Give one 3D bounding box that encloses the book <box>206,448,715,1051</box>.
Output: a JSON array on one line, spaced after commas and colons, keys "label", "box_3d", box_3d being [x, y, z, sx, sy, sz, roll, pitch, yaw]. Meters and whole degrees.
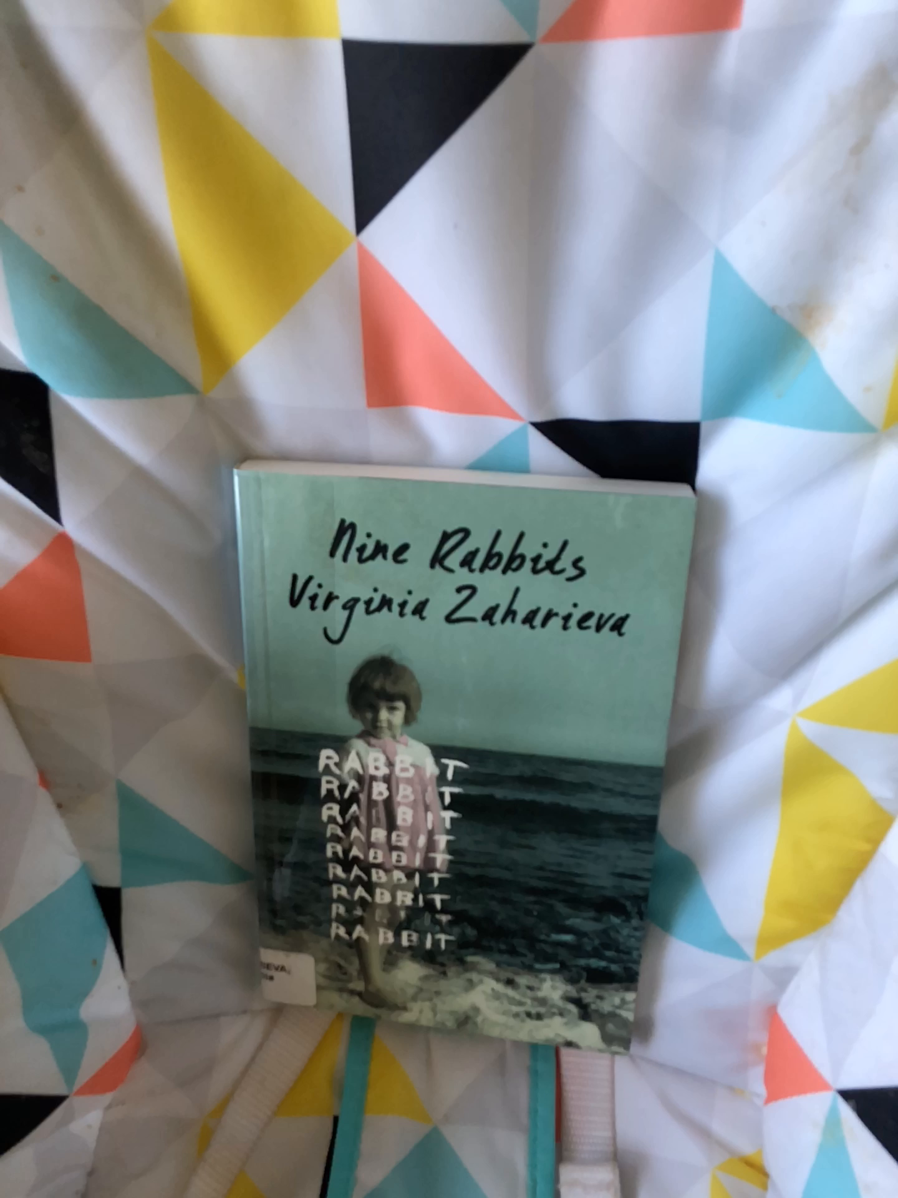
[{"label": "book", "box_3d": [0.000, 0.055, 0.330, 0.145, 0.025, 0.200, 4, 111, 6]}]
